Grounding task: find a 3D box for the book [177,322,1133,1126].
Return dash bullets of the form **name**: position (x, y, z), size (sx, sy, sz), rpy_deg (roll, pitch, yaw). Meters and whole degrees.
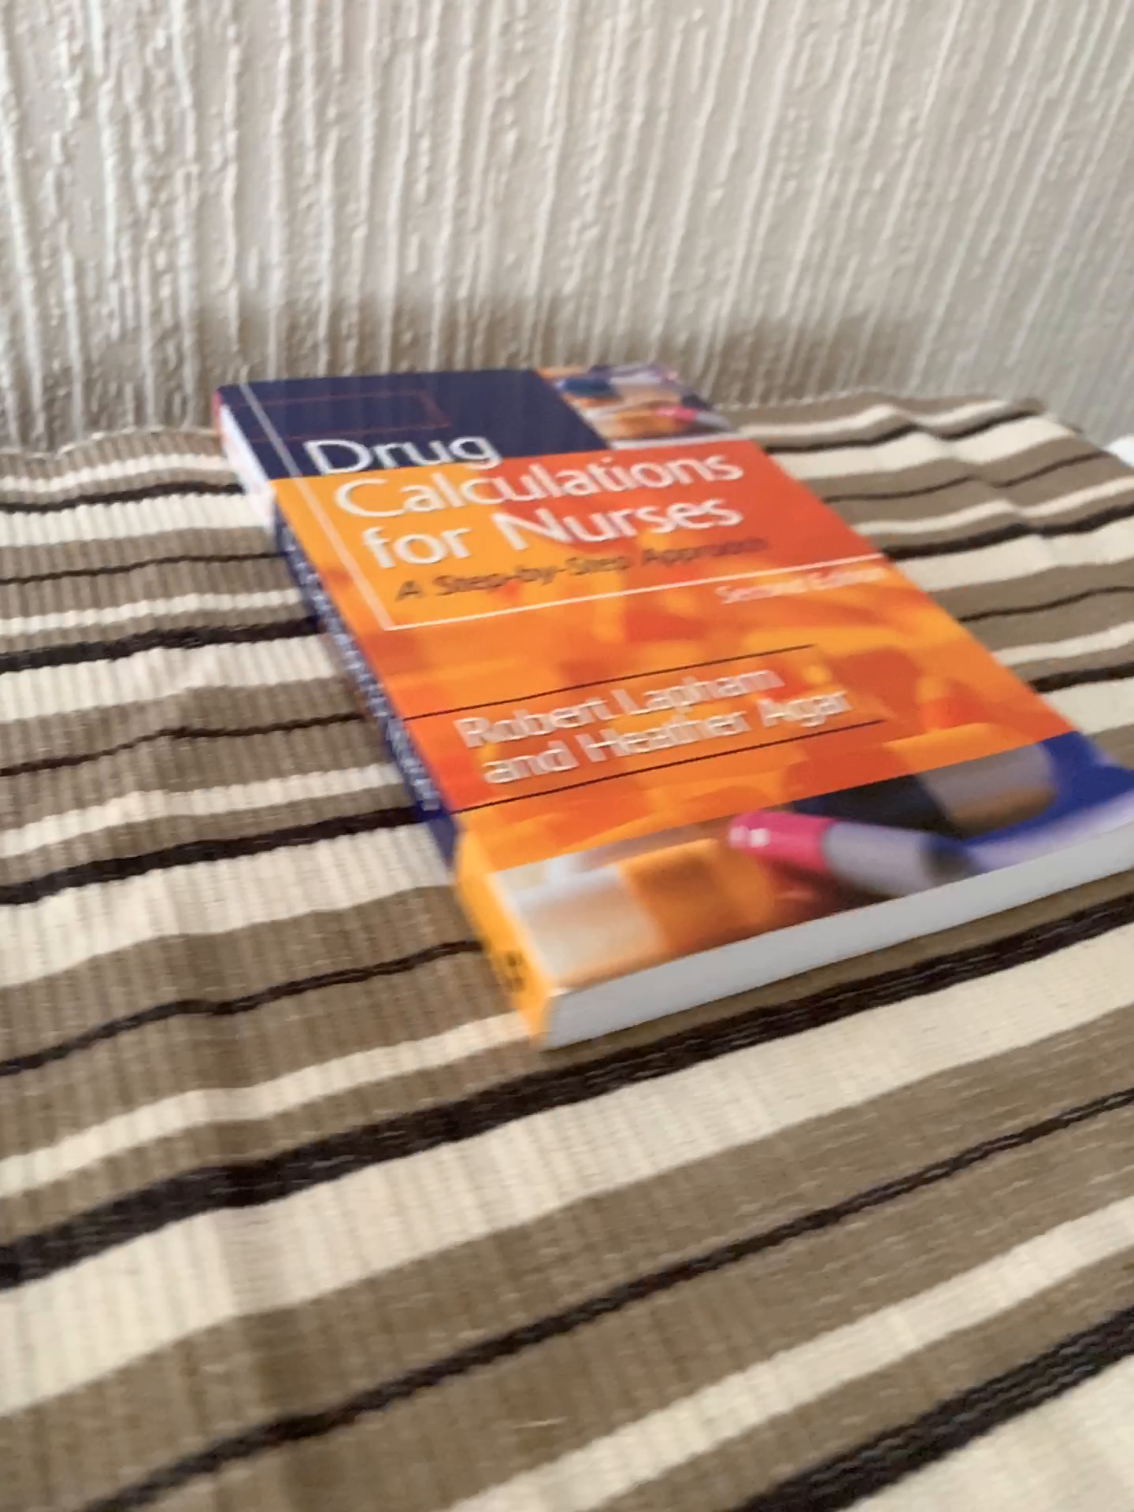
- **book**: position (0.012, -0.039, 0.257), size (0.140, 0.020, 0.221), rpy_deg (-11, 45, -26)
